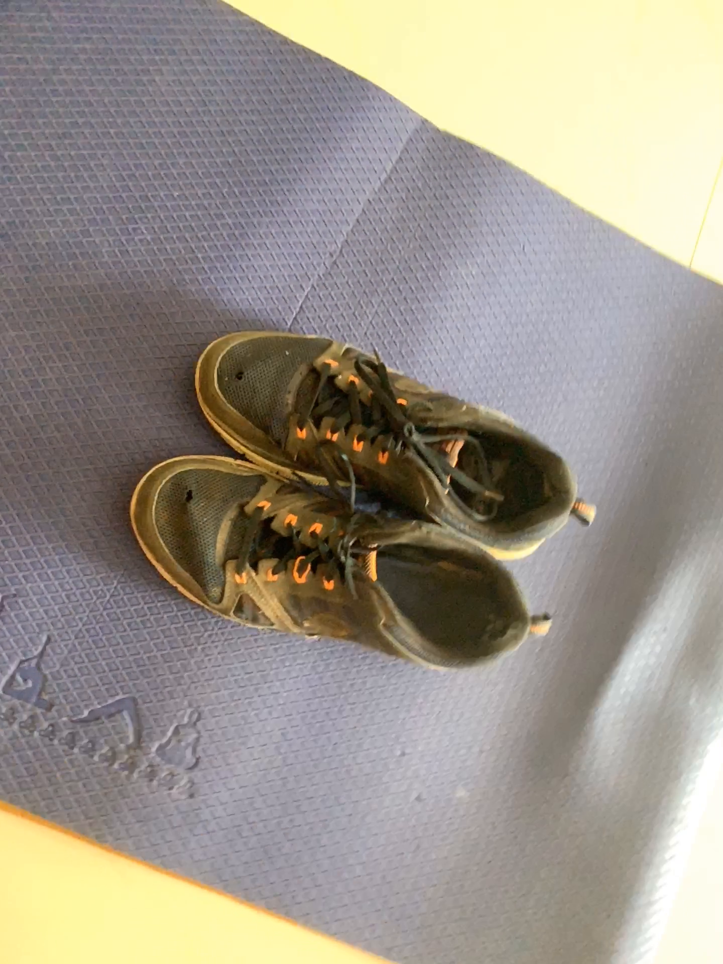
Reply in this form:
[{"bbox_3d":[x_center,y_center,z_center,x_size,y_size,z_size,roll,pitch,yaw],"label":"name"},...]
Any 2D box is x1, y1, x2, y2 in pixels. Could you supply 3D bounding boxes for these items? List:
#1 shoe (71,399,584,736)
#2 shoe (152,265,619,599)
[{"bbox_3d":[-0.020,0.064,0.518,0.310,0.100,0.110,22,76,-8],"label":"shoe"},{"bbox_3d":[0.017,-0.029,0.566,0.320,0.100,0.100,26,83,-7],"label":"shoe"}]
